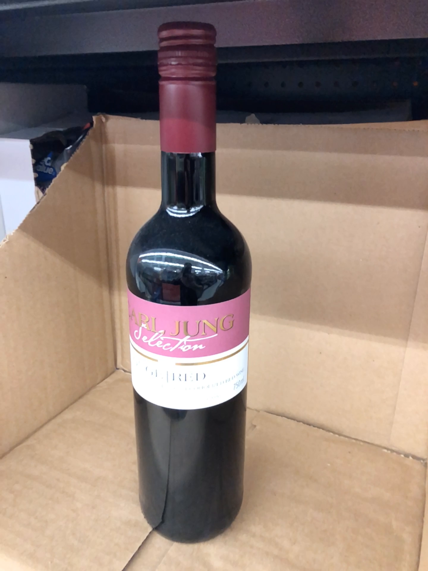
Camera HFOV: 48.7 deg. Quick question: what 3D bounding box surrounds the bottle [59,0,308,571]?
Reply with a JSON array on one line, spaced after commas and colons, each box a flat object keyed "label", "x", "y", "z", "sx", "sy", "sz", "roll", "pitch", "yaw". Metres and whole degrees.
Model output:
[{"label": "bottle", "x": -0.011, "y": 0.013, "z": 0.284, "sx": 0.090, "sy": 0.308, "sz": 0.080, "roll": 12, "pitch": 25, "yaw": 28}]
